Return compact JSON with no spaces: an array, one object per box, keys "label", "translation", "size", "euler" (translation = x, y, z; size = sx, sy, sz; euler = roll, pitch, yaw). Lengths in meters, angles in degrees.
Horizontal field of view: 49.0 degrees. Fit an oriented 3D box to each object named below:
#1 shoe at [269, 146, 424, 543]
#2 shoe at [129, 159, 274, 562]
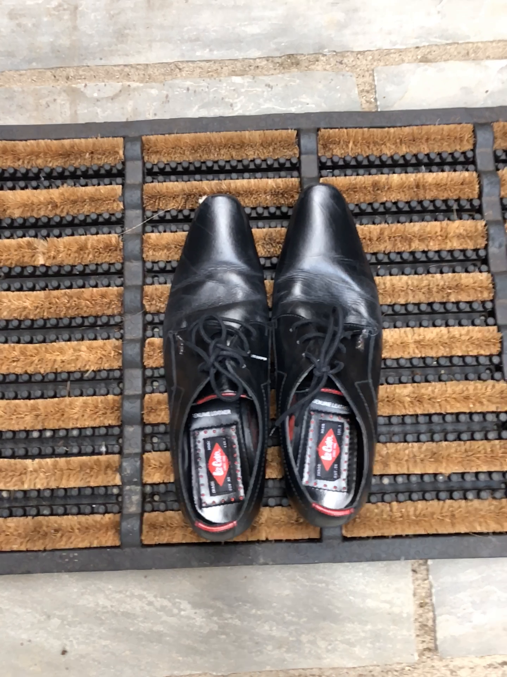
[{"label":"shoe","translation":[0.067,0.004,0.465],"size":[0.100,0.100,0.300],"euler":[-1,79,0]},{"label":"shoe","translation":[-0.038,0.015,0.461],"size":[0.100,0.100,0.300],"euler":[-1,79,0]}]
